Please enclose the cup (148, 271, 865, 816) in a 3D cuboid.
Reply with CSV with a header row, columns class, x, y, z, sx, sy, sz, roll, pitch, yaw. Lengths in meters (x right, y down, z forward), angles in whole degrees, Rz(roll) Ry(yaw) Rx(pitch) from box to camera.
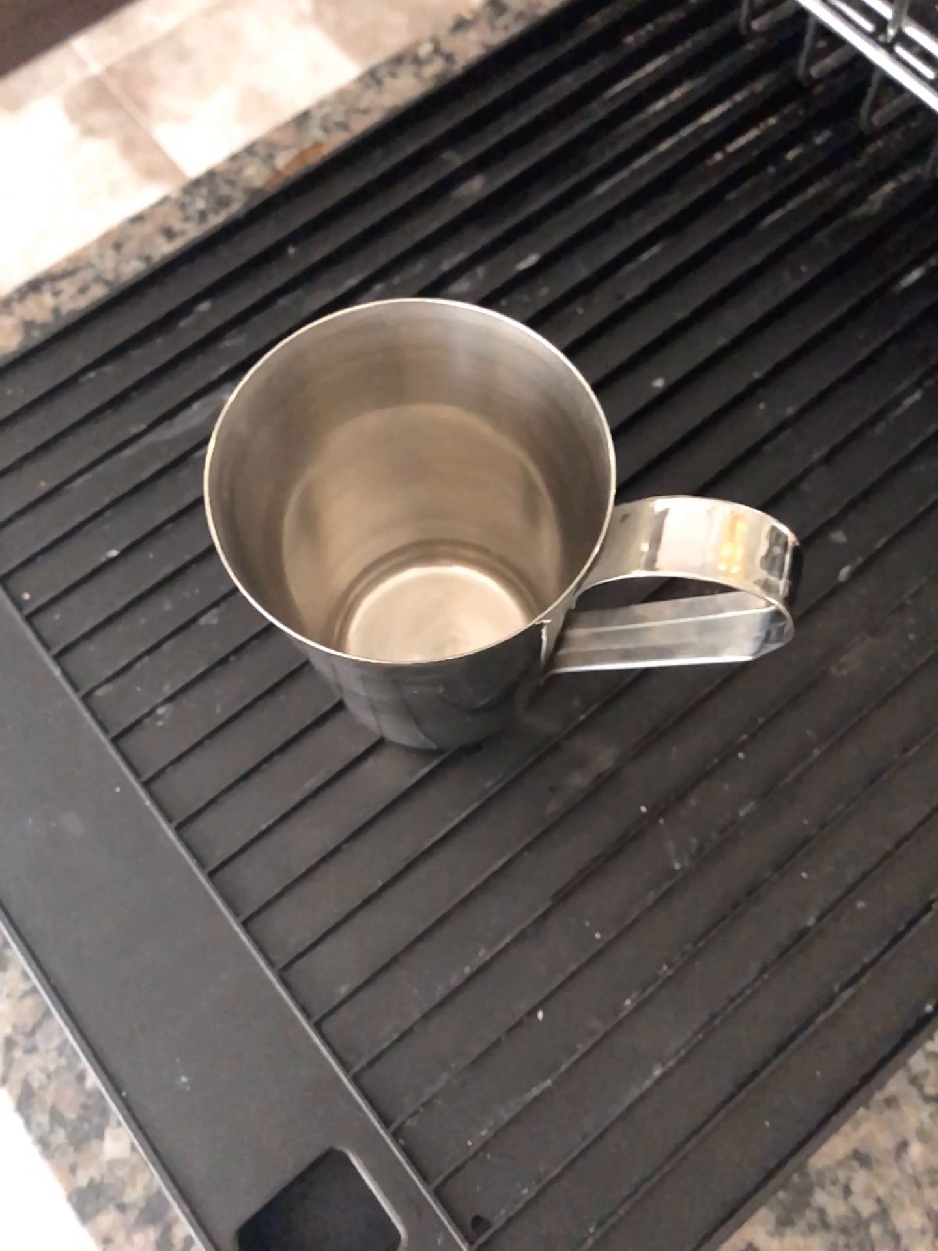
class,x,y,z,sx,sy,sz,roll,pitch,yaw
cup,0.010,-0.009,0.219,0.110,0.097,0.065,7,69,5
